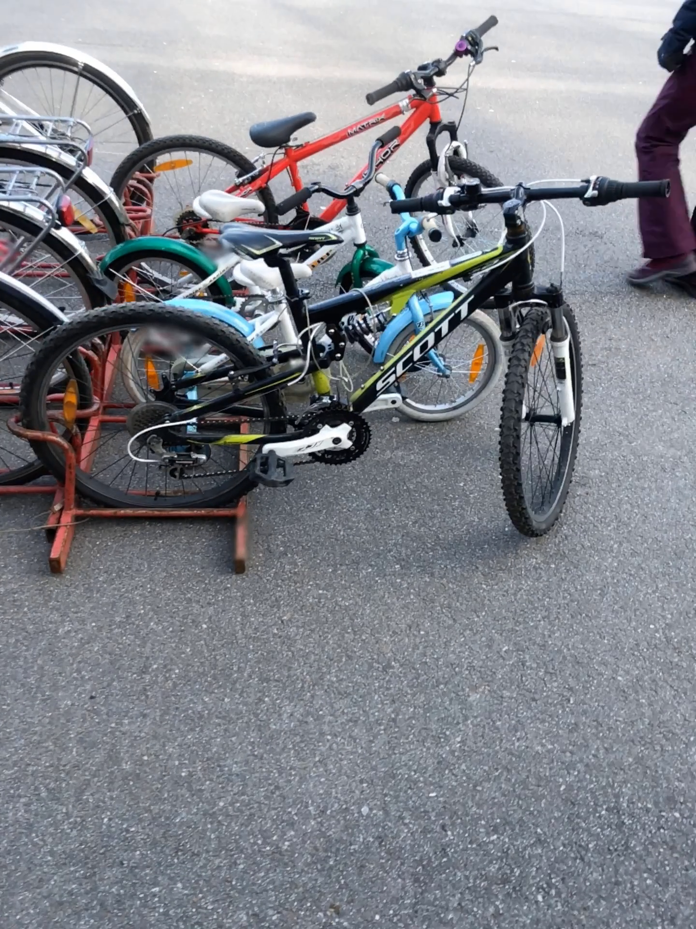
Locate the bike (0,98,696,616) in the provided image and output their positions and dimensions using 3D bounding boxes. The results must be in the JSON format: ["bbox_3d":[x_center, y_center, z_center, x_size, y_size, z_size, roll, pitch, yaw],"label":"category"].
[{"bbox_3d":[-0.035,-0.284,1.745,1.373,0.901,0.531,-7,38,-13],"label":"bike"}]
